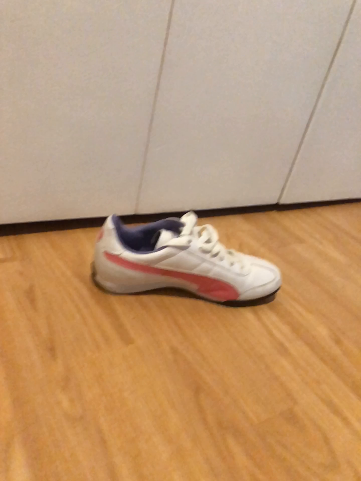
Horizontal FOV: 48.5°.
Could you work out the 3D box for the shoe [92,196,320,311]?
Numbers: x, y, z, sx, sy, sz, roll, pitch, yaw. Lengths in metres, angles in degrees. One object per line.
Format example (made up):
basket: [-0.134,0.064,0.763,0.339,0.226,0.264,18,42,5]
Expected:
shoe: [0.025,0.018,0.510,0.260,0.080,0.100,6,31,-14]
